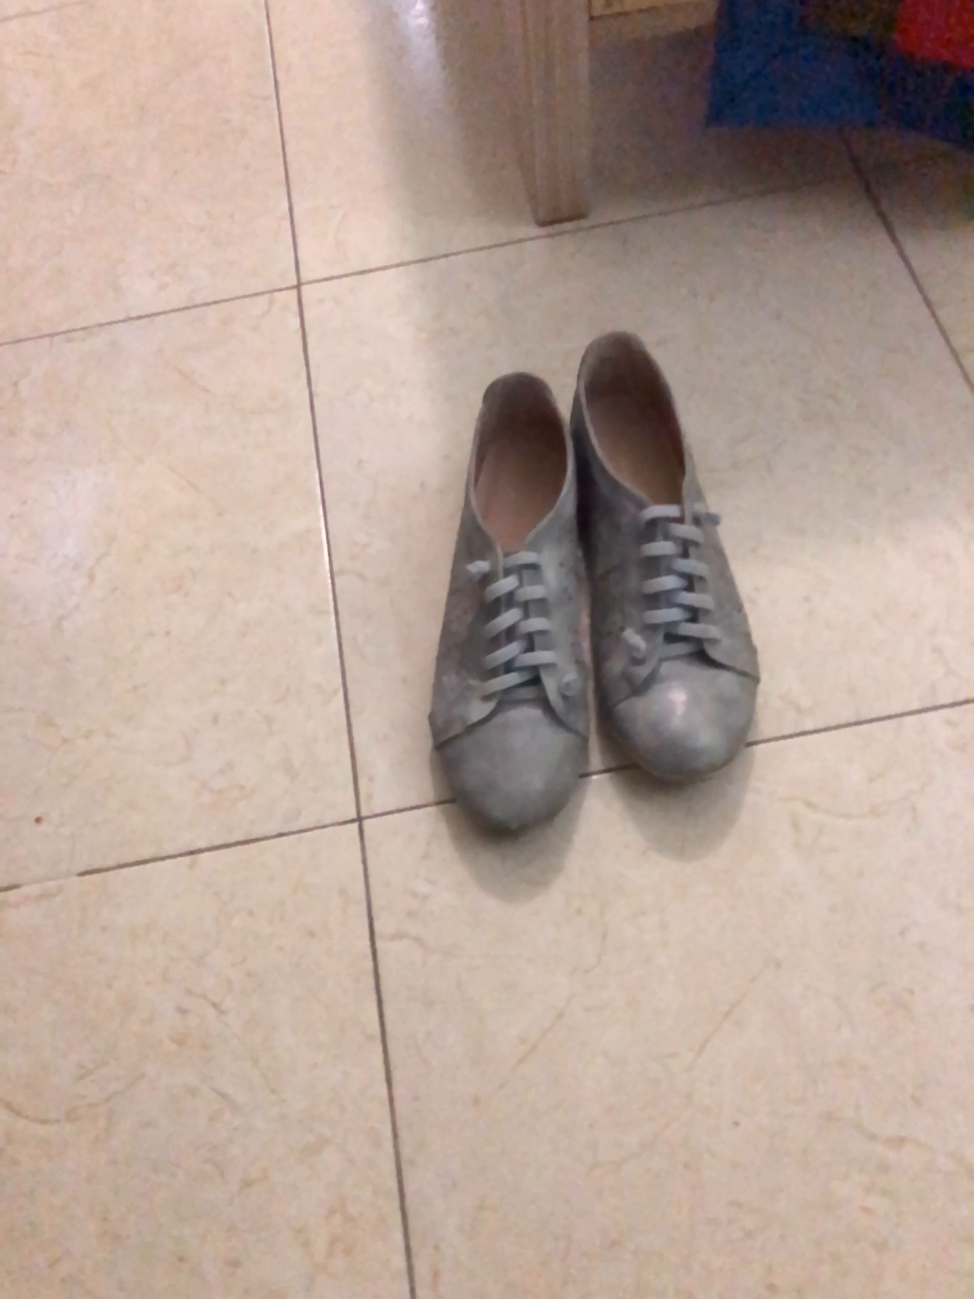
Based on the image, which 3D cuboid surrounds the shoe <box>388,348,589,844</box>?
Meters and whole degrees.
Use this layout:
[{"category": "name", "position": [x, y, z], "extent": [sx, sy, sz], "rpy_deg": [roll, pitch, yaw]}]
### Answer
[{"category": "shoe", "position": [0.011, -0.038, 0.652], "extent": [0.100, 0.100, 0.290], "rpy_deg": [-1, 61, 7]}]

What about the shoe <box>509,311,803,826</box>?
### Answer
[{"category": "shoe", "position": [0.090, -0.056, 0.646], "extent": [0.100, 0.100, 0.290], "rpy_deg": [-11, 60, 1]}]
